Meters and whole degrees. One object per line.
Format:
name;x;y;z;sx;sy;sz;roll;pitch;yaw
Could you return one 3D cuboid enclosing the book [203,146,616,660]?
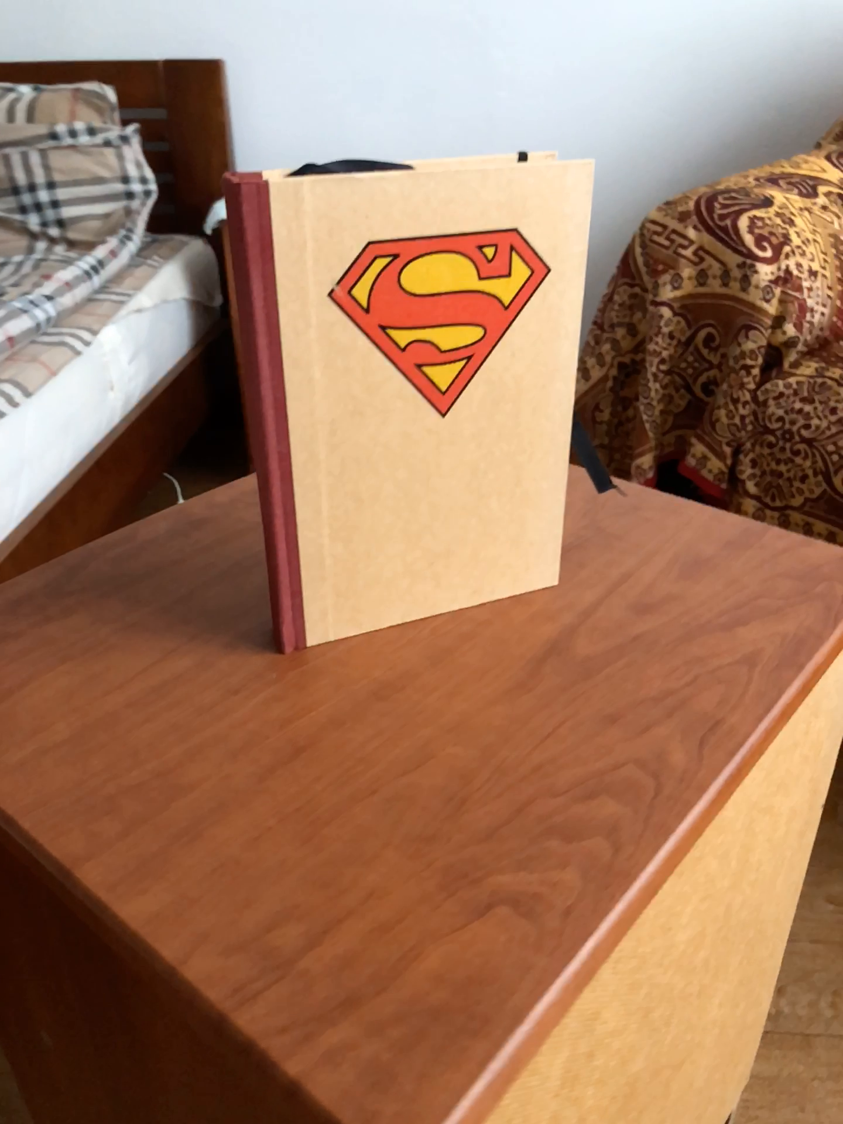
book;-0.001;-0.071;0.419;0.162;0.203;0.041;-13;31;-21
